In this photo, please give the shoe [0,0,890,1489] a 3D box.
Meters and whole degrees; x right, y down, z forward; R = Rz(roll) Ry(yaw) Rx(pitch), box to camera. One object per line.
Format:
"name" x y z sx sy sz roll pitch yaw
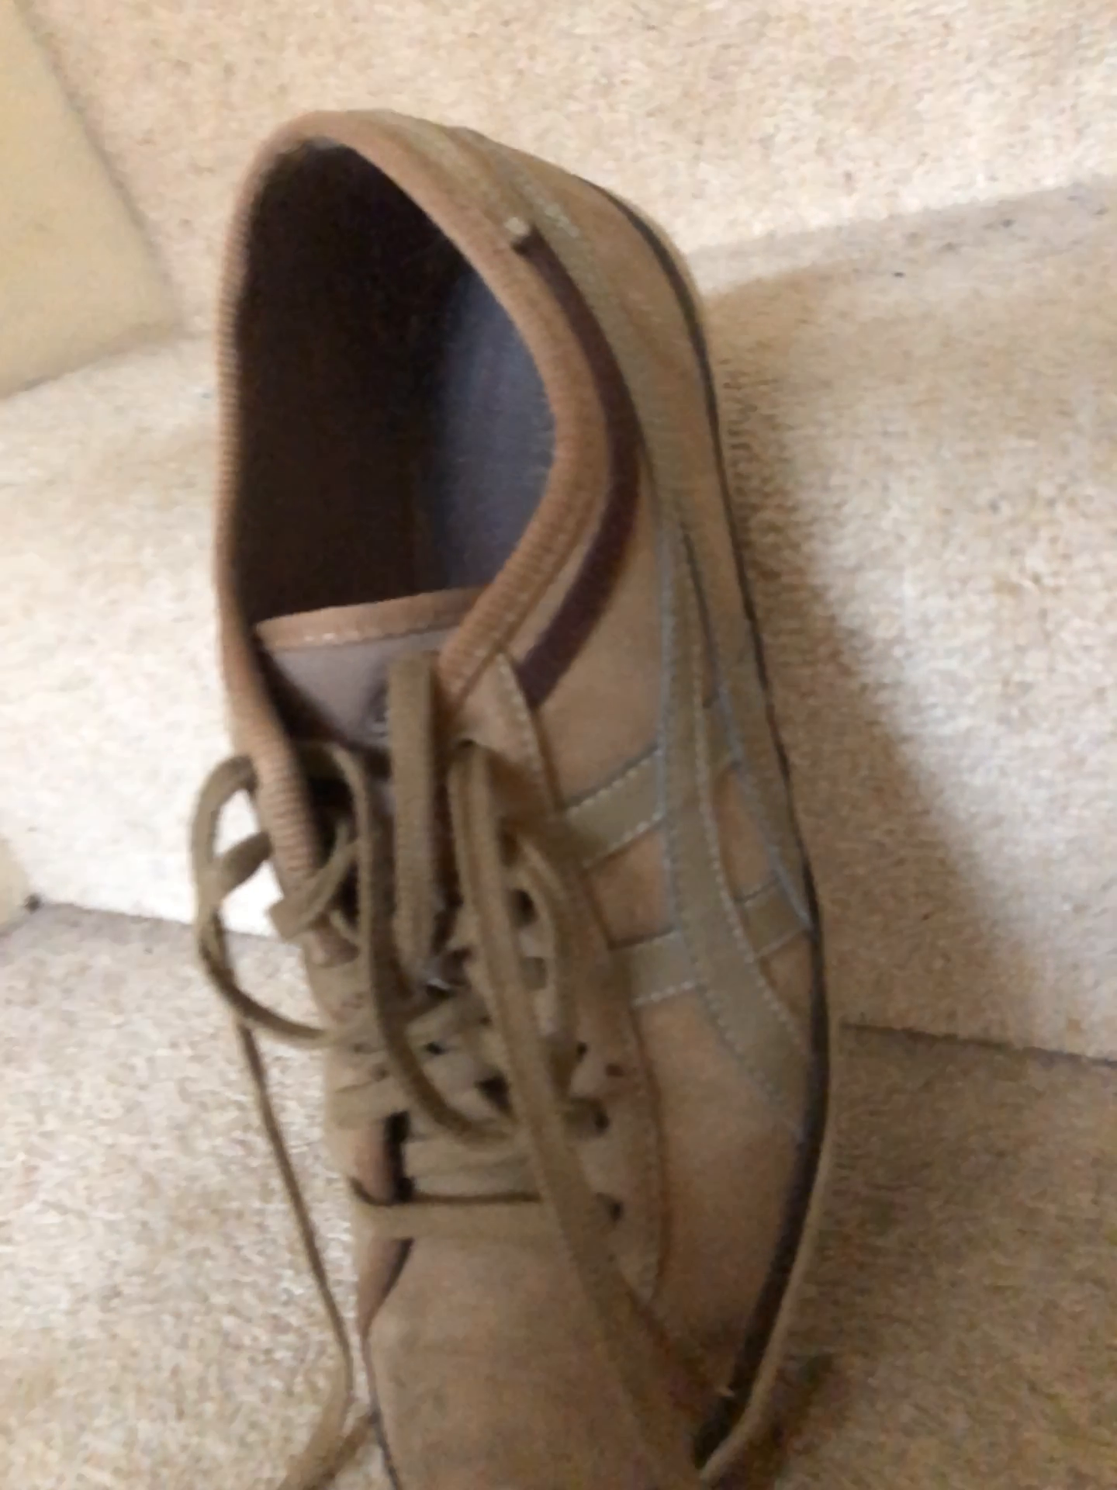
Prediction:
"shoe" -0.009 0.031 0.252 0.110 0.301 0.120 -4 -13 35
